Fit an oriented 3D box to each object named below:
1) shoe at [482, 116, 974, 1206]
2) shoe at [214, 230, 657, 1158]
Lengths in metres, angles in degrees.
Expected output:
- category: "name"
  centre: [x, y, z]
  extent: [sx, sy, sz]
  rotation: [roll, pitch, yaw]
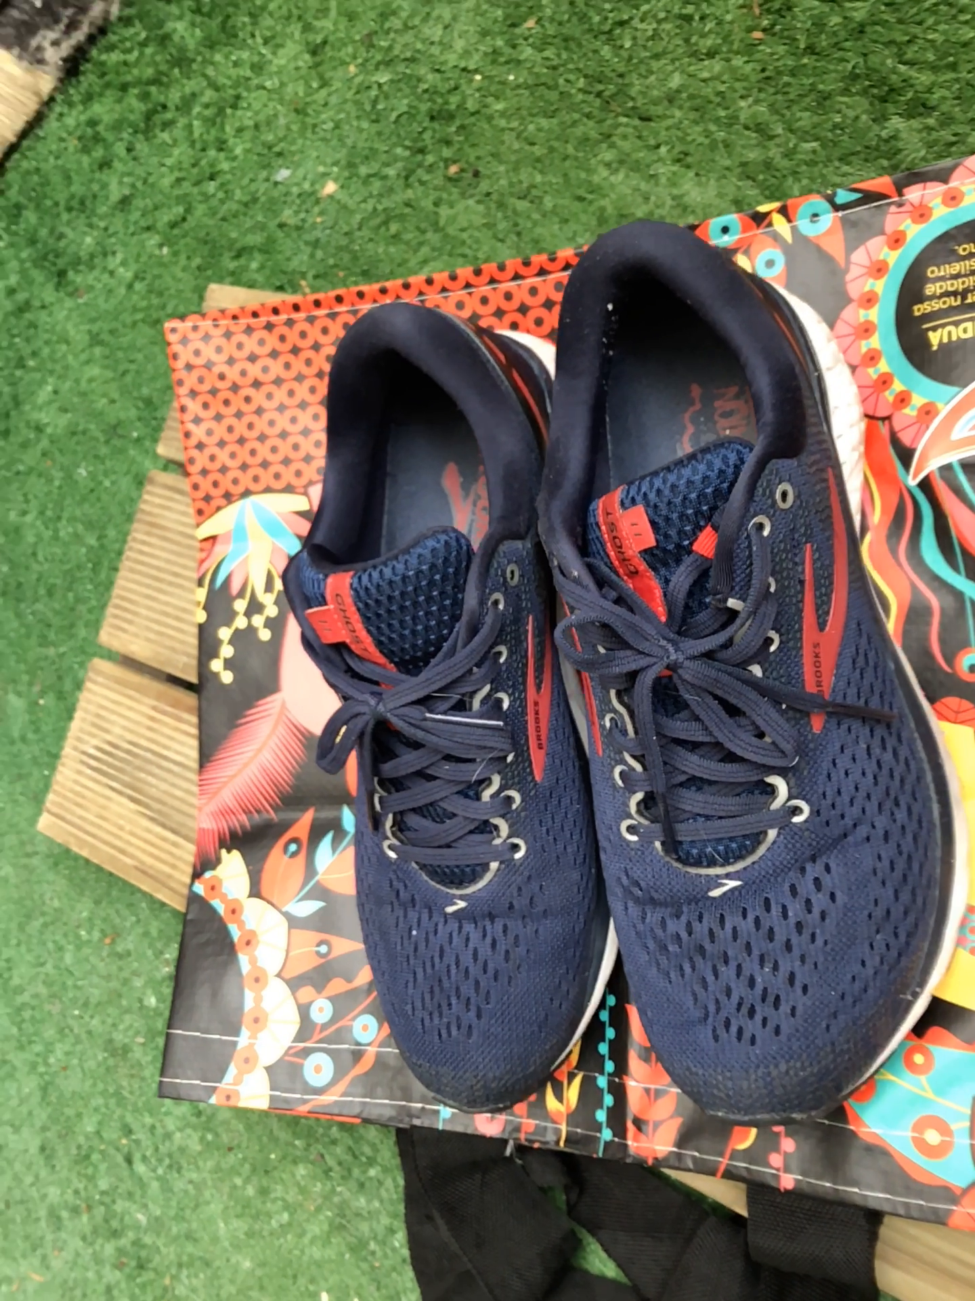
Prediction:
- category: "shoe"
  centre: [0.074, 0.004, 0.325]
  extent: [0.100, 0.100, 0.265]
  rotation: [-9, 78, 28]
- category: "shoe"
  centre: [-0.017, 0.015, 0.375]
  extent: [0.107, 0.100, 0.265]
  rotation: [-7, 78, 28]
